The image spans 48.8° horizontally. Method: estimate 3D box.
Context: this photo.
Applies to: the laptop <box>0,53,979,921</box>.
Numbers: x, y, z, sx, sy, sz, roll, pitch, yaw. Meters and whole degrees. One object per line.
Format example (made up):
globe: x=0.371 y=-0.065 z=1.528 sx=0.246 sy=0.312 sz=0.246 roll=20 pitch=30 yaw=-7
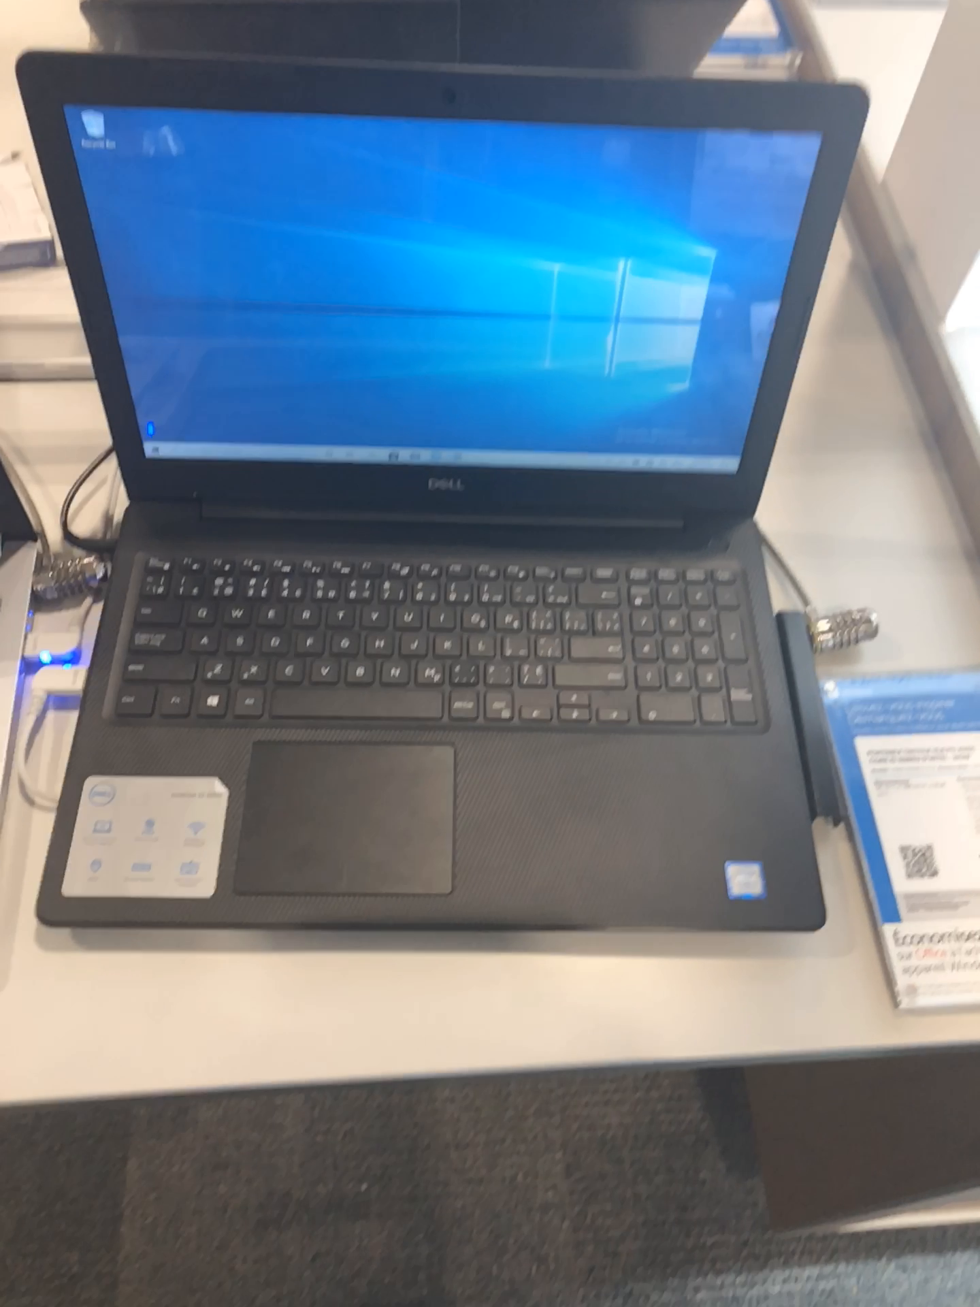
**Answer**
laptop: x=-0.025 y=-0.067 z=0.496 sx=0.368 sy=0.231 sz=0.310 roll=1 pitch=58 yaw=-3
